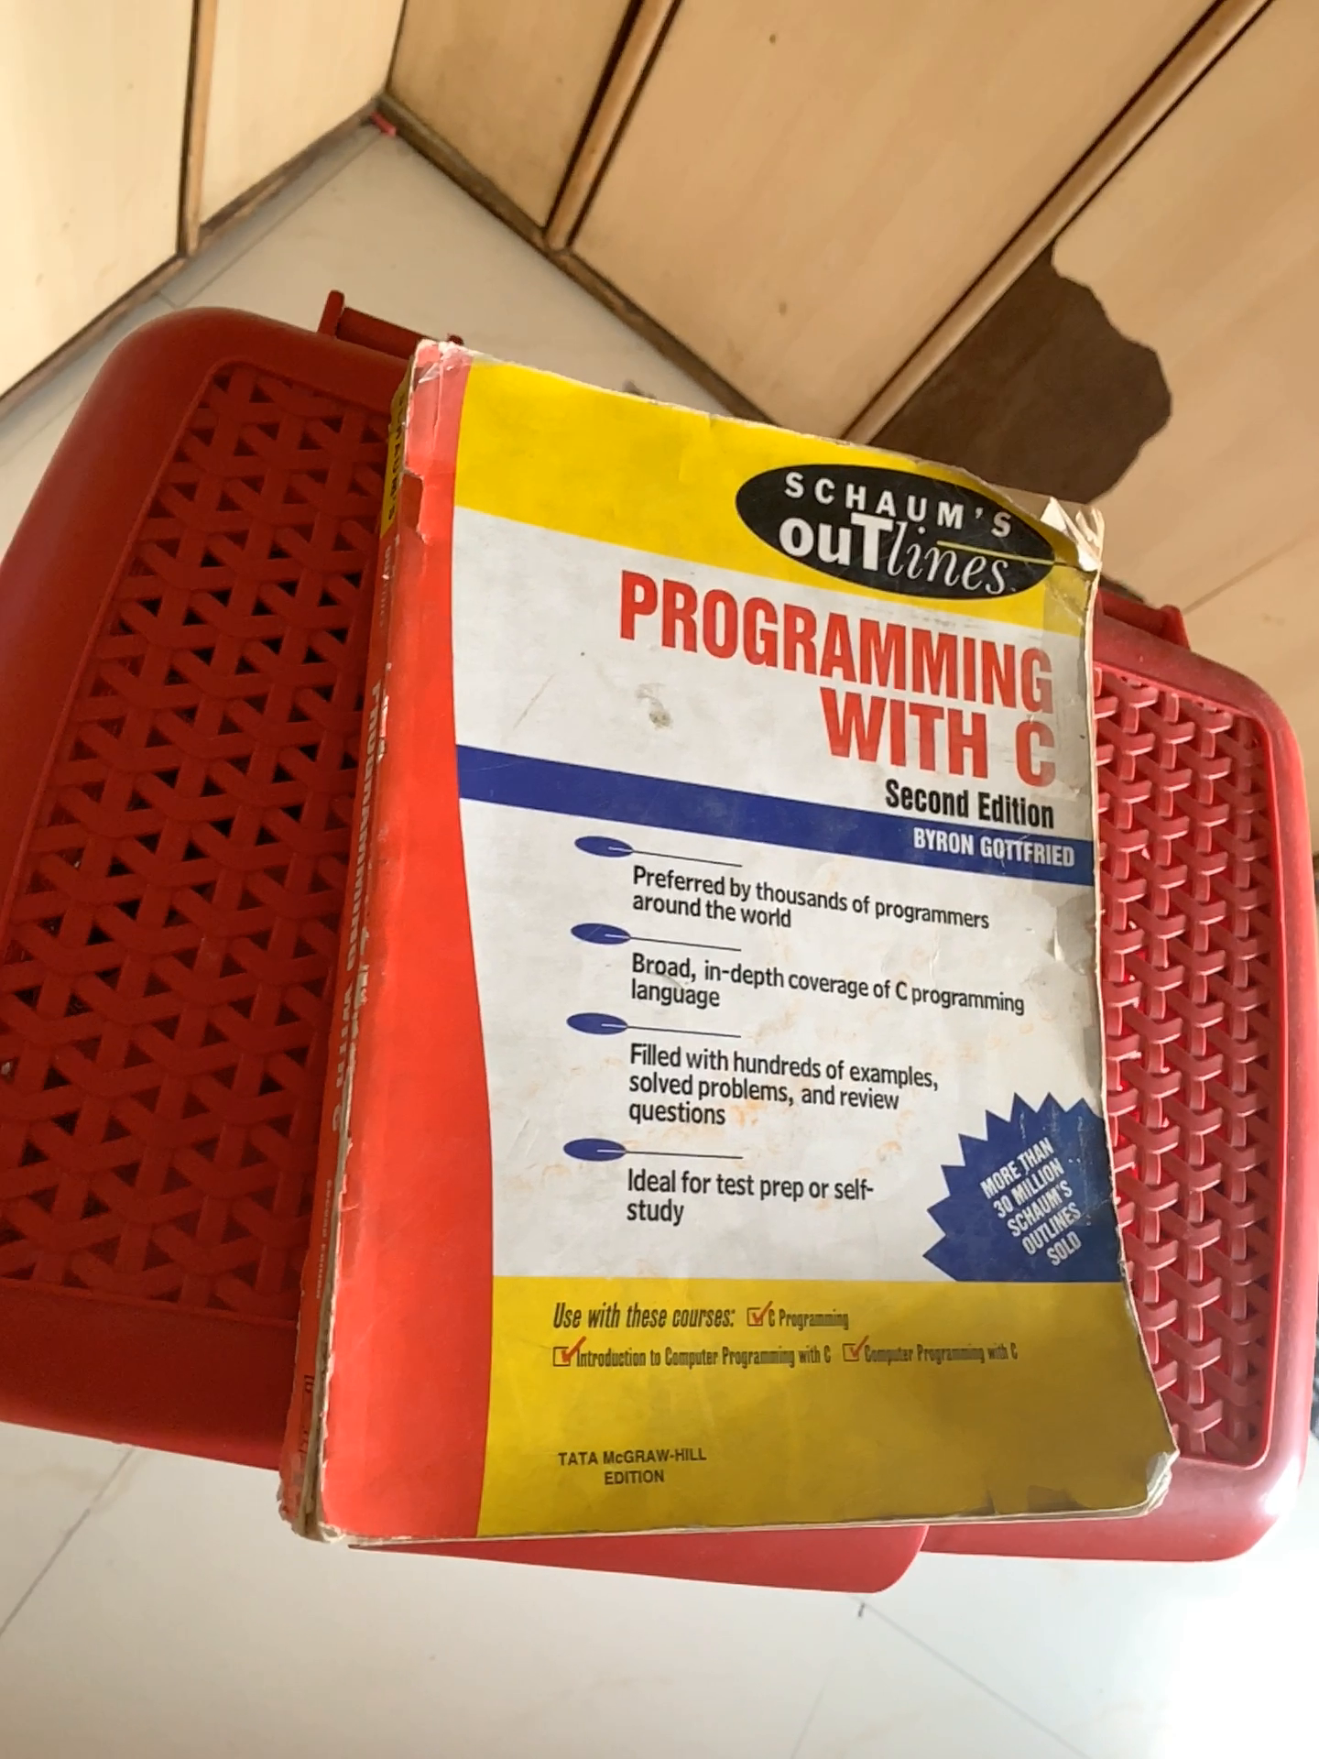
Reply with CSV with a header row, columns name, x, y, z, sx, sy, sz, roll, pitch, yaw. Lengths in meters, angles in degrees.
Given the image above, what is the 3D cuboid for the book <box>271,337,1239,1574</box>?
name,x,y,z,sx,sy,sz,roll,pitch,yaw
book,0.028,0.018,0.323,0.200,0.050,0.251,8,72,-19
